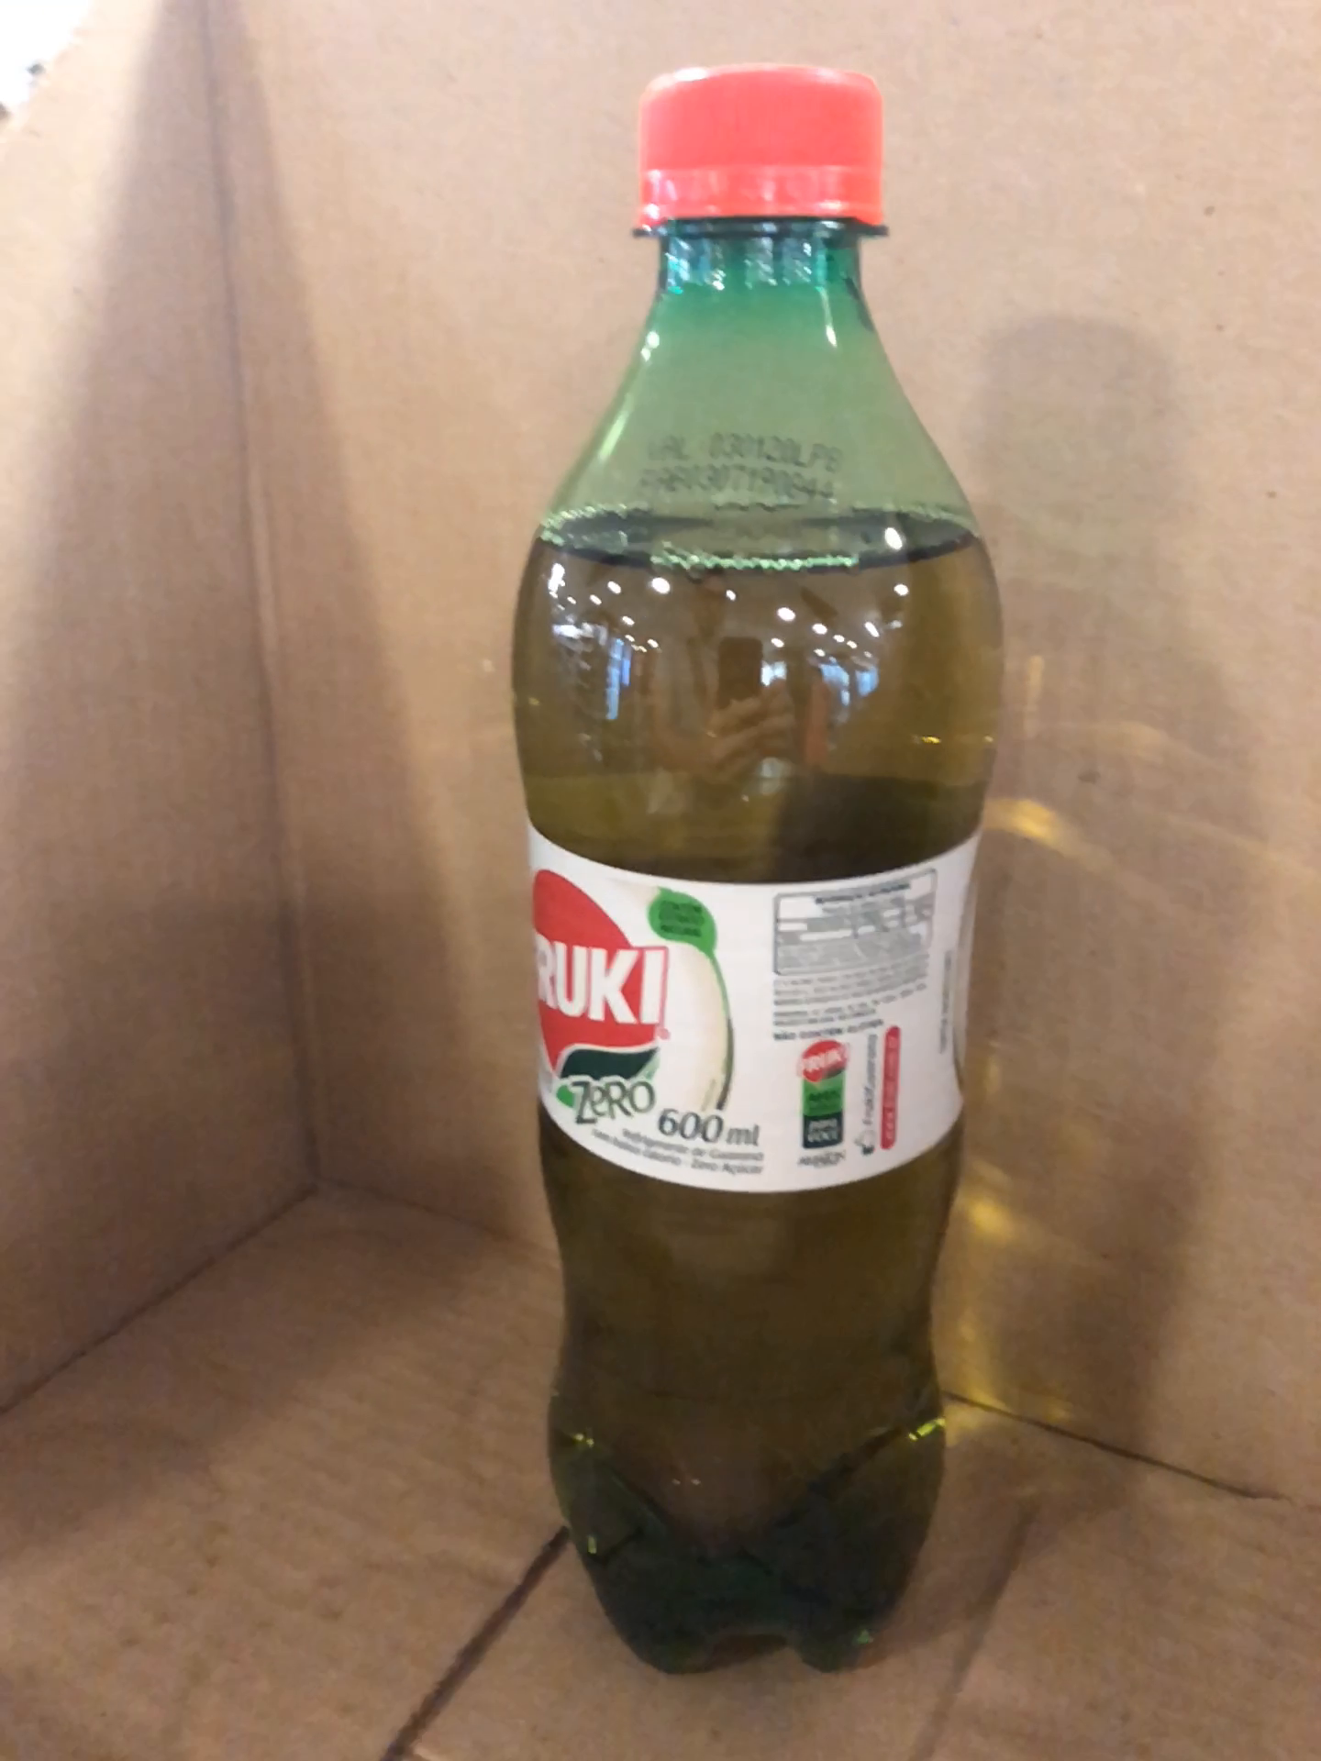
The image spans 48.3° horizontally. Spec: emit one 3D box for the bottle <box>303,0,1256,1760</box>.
[{"bbox_3d":[0.015,0.009,0.216,0.080,0.238,0.080,0,20,0],"label":"bottle"}]
